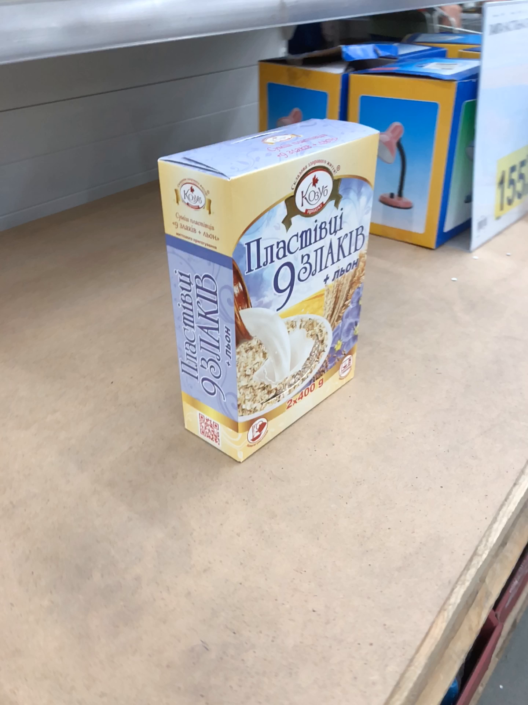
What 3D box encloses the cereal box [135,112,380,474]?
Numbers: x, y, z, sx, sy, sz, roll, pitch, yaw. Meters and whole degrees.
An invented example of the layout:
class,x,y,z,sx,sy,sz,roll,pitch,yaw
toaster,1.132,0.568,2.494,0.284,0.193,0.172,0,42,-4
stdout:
class,x,y,z,sx,sy,sz,roll,pitch,yaw
cereal box,0.000,-0.052,0.477,0.070,0.238,0.181,28,42,33
